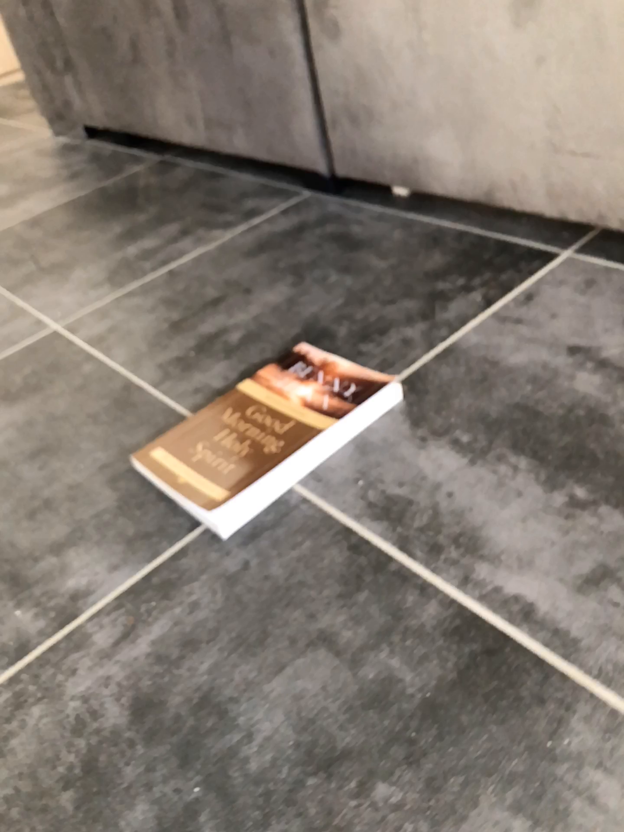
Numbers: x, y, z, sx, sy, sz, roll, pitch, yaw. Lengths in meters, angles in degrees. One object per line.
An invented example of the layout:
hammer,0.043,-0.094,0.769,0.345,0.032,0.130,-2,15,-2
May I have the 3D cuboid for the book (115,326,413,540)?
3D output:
book,-0.042,0.000,0.635,0.231,0.020,0.150,-36,43,-27
